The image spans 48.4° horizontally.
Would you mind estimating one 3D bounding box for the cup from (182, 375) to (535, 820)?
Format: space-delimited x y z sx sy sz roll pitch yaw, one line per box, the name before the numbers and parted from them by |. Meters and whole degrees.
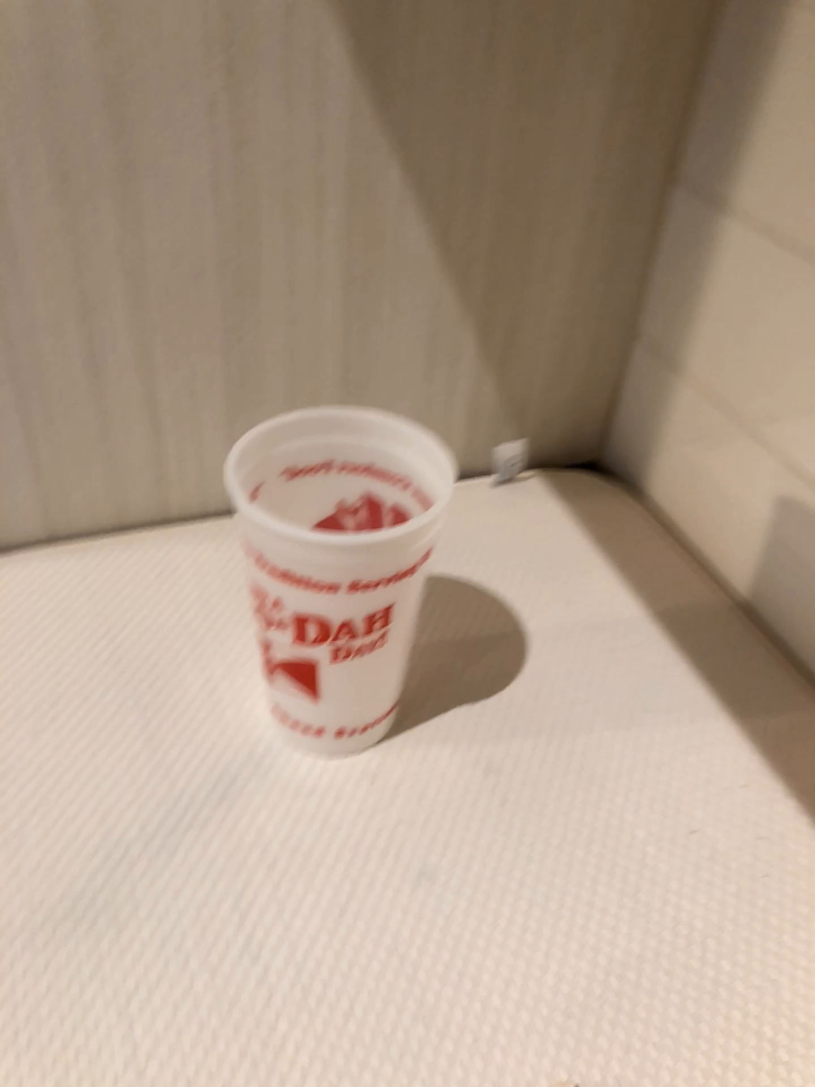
cup | -0.023 0.022 0.406 0.100 0.139 0.100 3 39 -3
